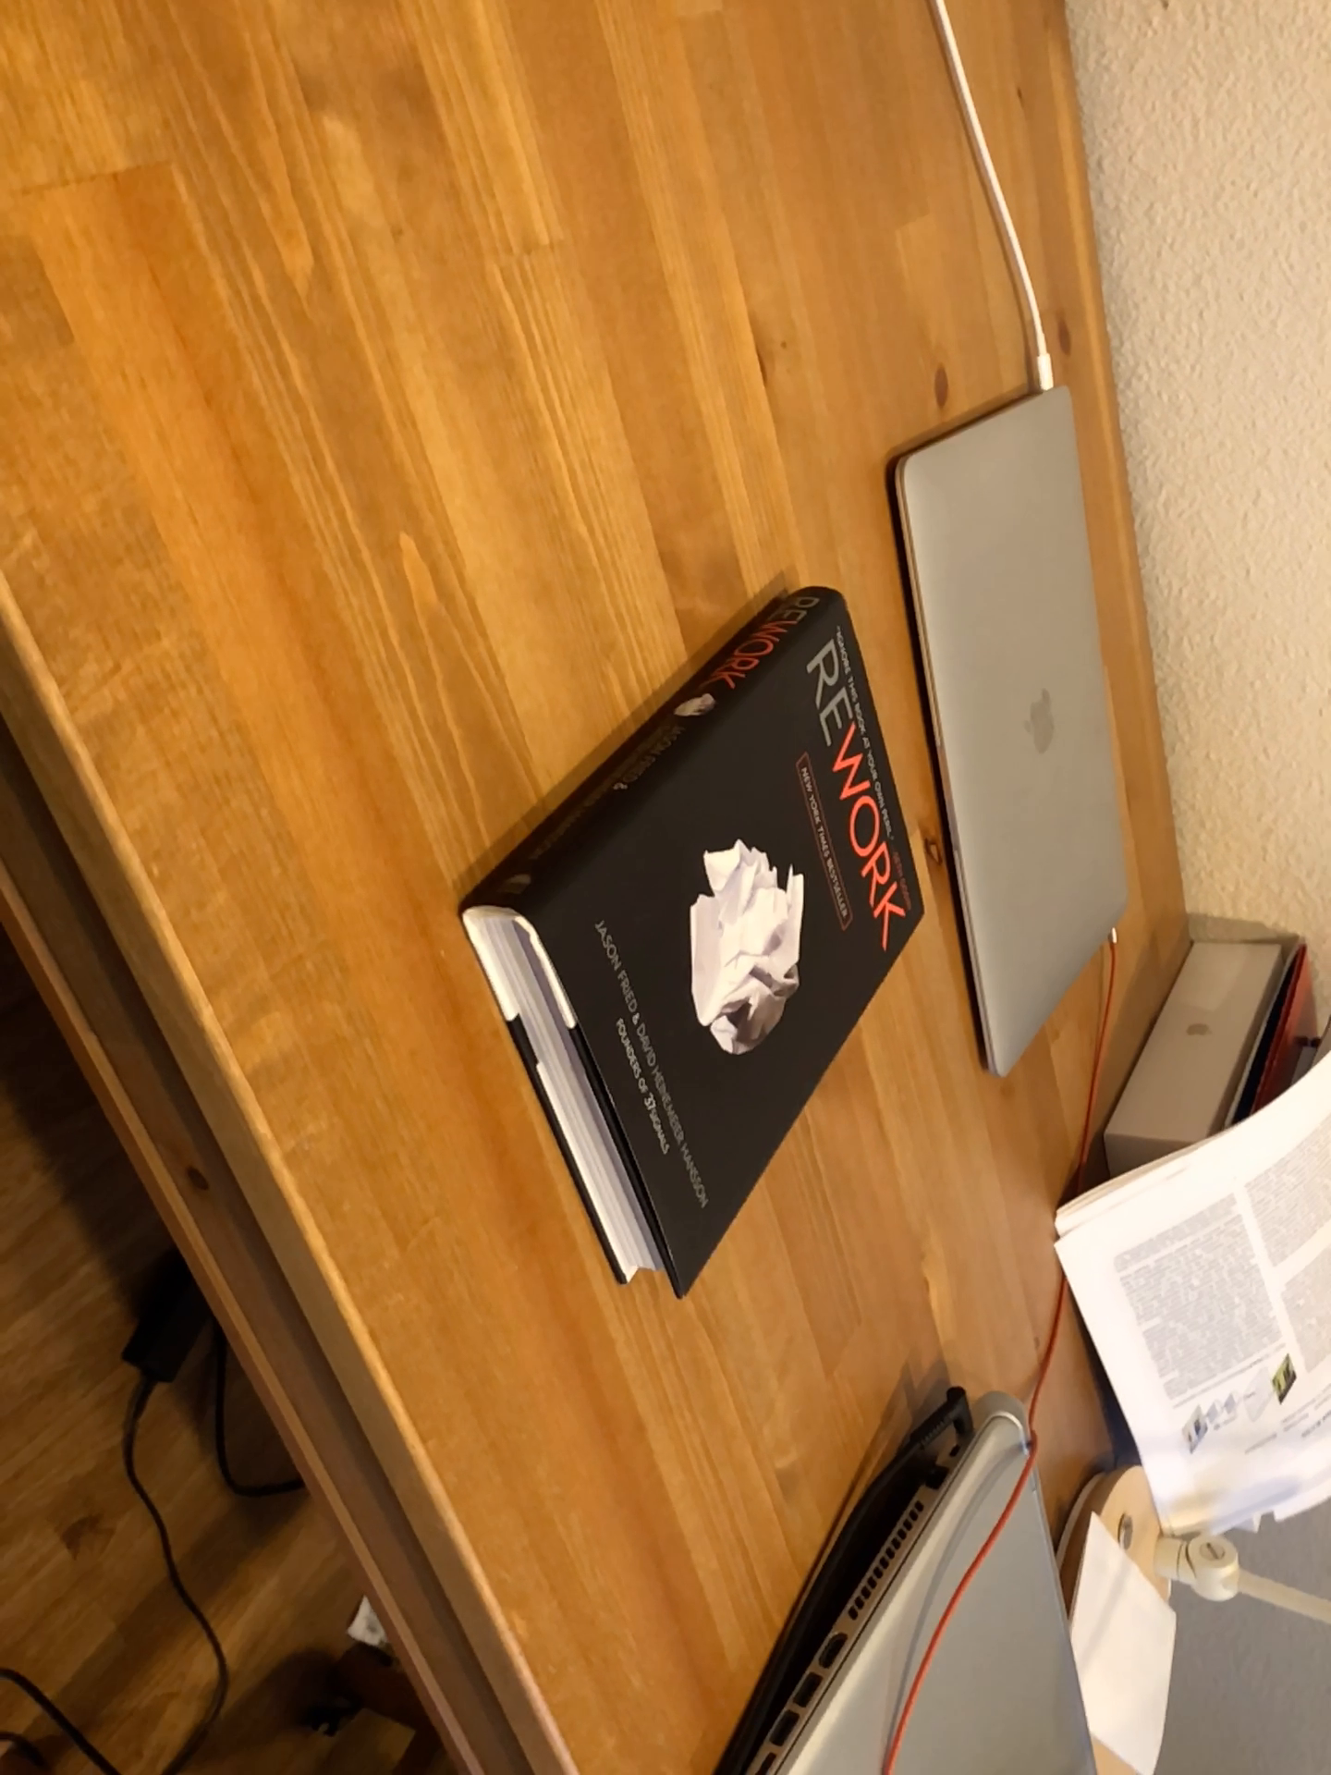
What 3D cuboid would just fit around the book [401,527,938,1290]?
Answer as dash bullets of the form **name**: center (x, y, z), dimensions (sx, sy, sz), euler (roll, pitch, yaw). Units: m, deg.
- **book**: center (0.021, -0.004, 0.520), dimensions (0.231, 0.040, 0.161), euler (-50, 130, -43)
